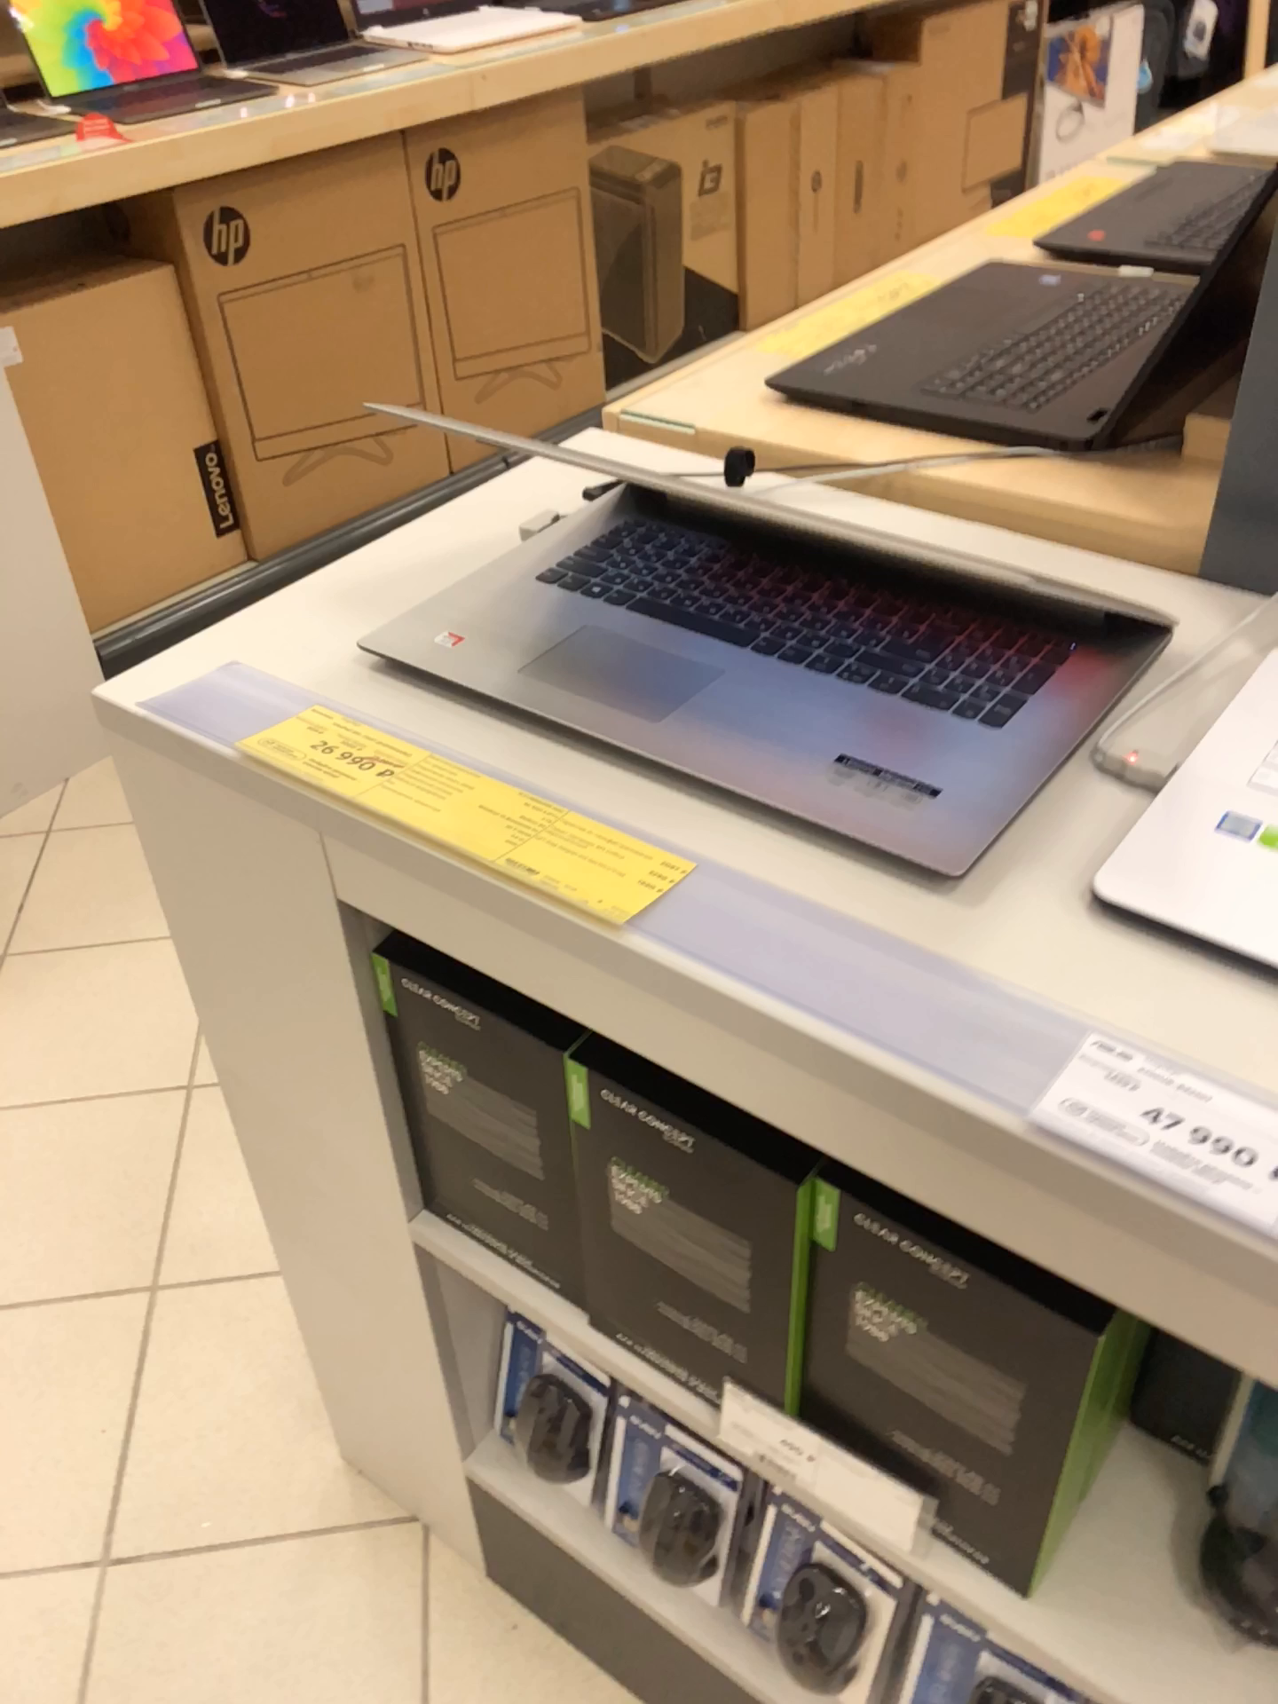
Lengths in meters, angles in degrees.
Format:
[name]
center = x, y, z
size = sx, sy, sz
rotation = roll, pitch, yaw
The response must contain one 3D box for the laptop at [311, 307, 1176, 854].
[laptop]
center = 0.056, -0.188, 0.816
size = 0.399, 0.129, 0.277
rotation = 22, 44, 30
